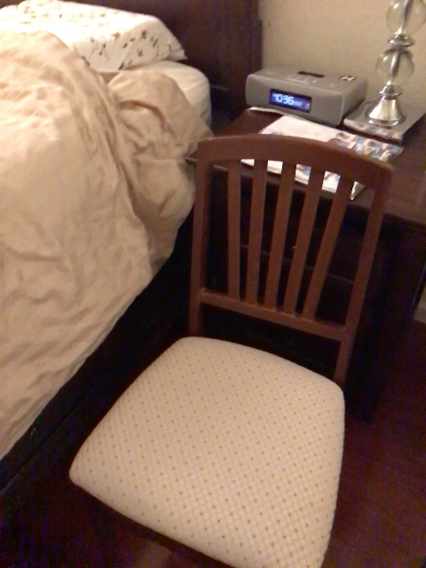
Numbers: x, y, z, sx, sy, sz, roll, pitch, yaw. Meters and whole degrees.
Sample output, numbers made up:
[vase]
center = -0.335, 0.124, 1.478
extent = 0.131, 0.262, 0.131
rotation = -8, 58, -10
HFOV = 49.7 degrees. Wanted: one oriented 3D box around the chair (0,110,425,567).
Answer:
[chair]
center = 0.103, 0.295, 1.017
extent = 0.620, 1.032, 0.695
rotation = 13, 45, 17
